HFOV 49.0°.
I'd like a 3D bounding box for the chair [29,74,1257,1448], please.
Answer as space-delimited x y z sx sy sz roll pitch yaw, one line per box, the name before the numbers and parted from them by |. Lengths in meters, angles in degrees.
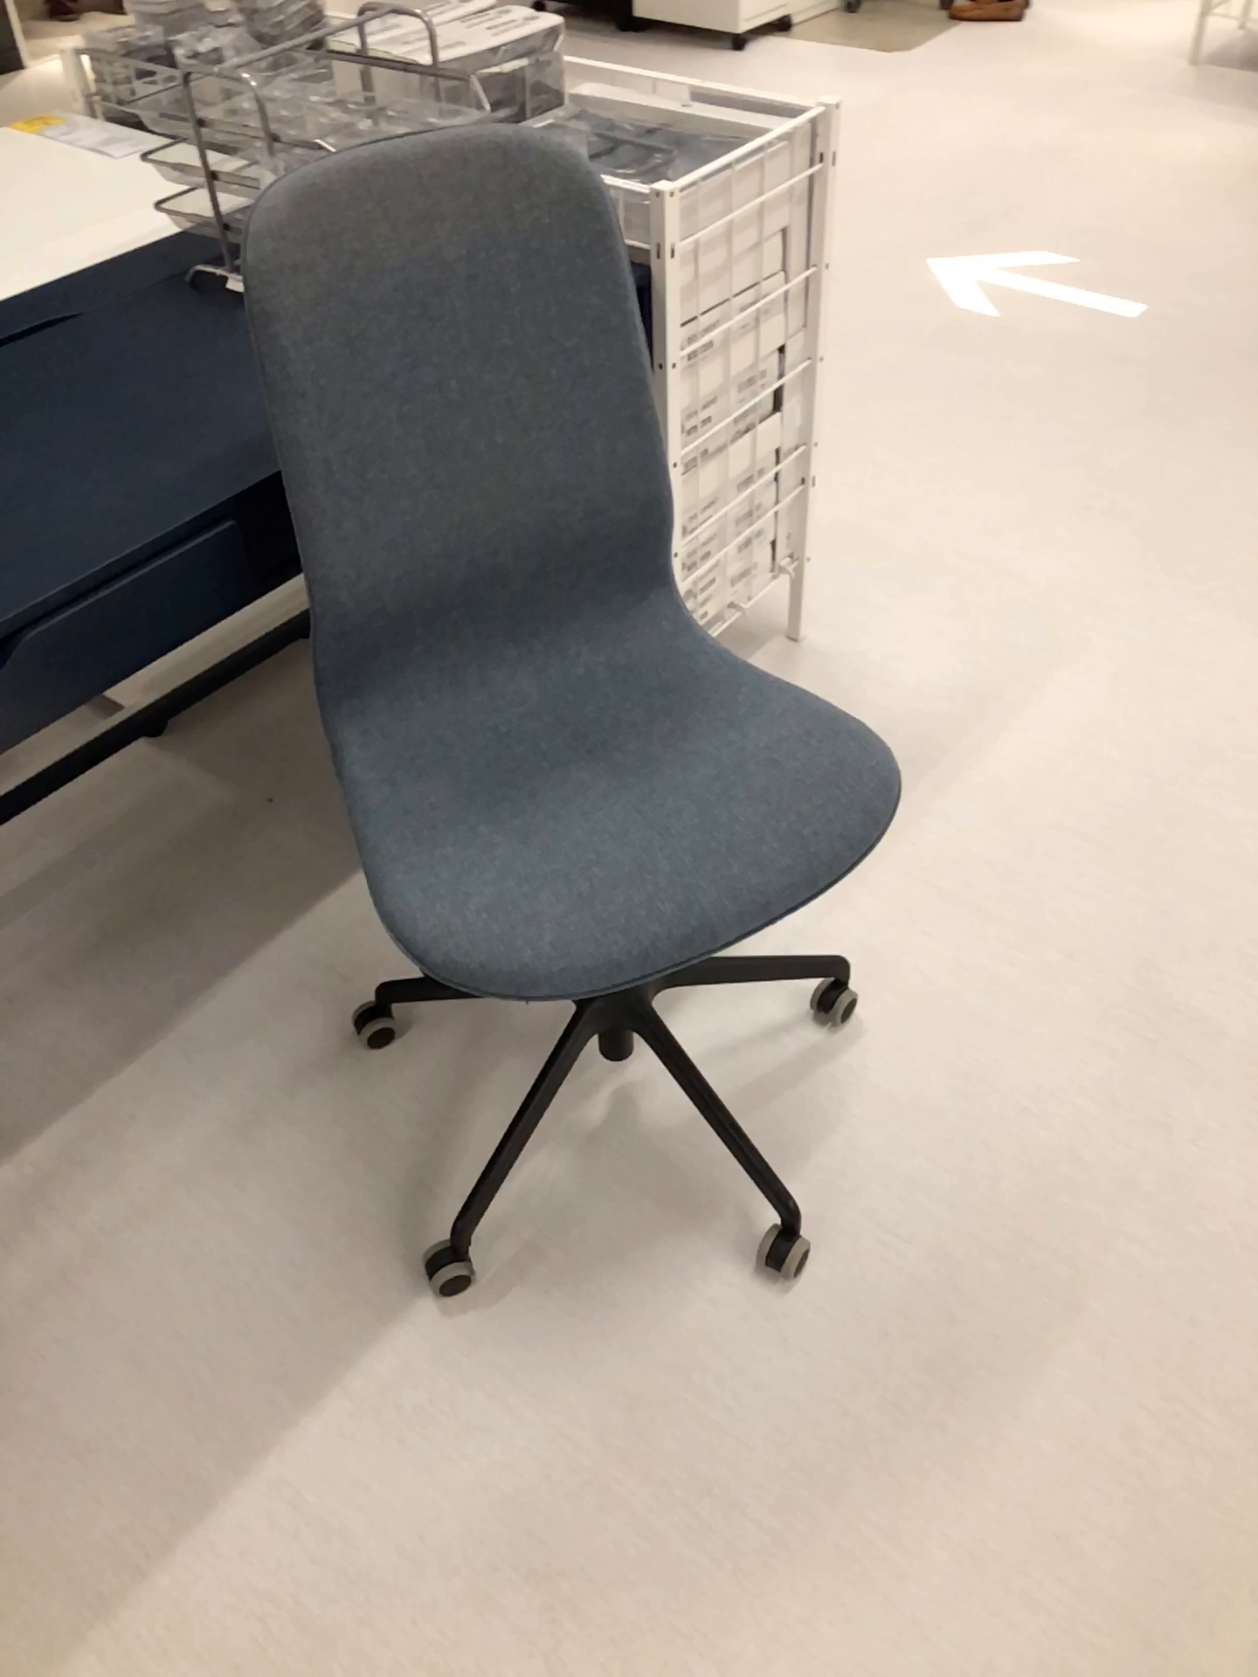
chair | -0.026 -0.079 1.311 0.641 0.934 0.684 -21 46 -19
